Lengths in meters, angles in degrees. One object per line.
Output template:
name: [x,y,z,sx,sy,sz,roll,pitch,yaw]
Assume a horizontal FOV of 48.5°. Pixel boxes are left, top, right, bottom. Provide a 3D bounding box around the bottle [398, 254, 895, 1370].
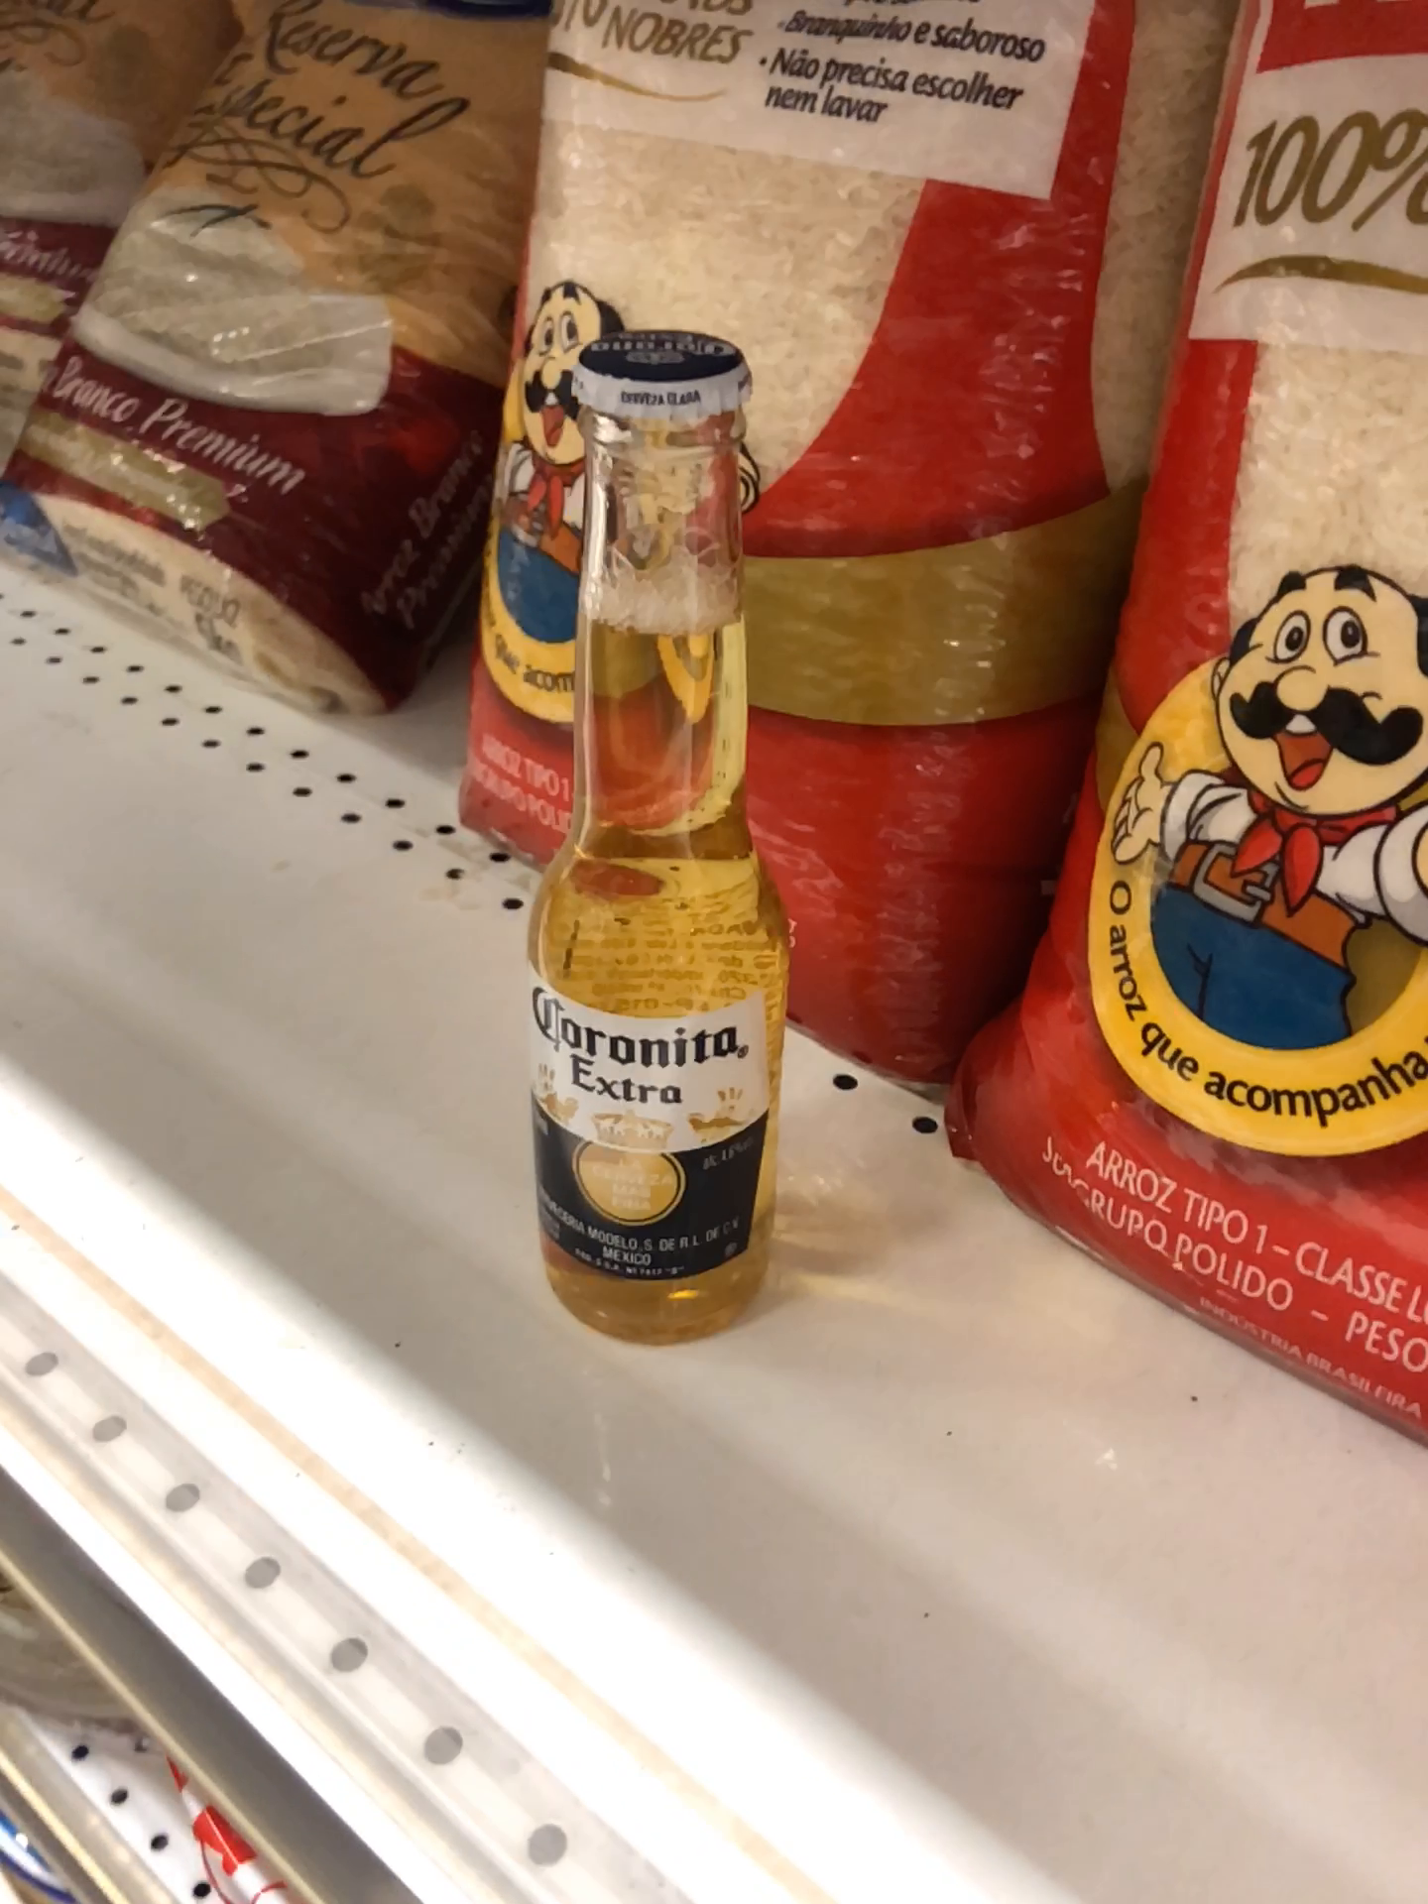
bottle: [-0.009,-0.016,0.298,0.060,0.198,0.060,1,36,0]
